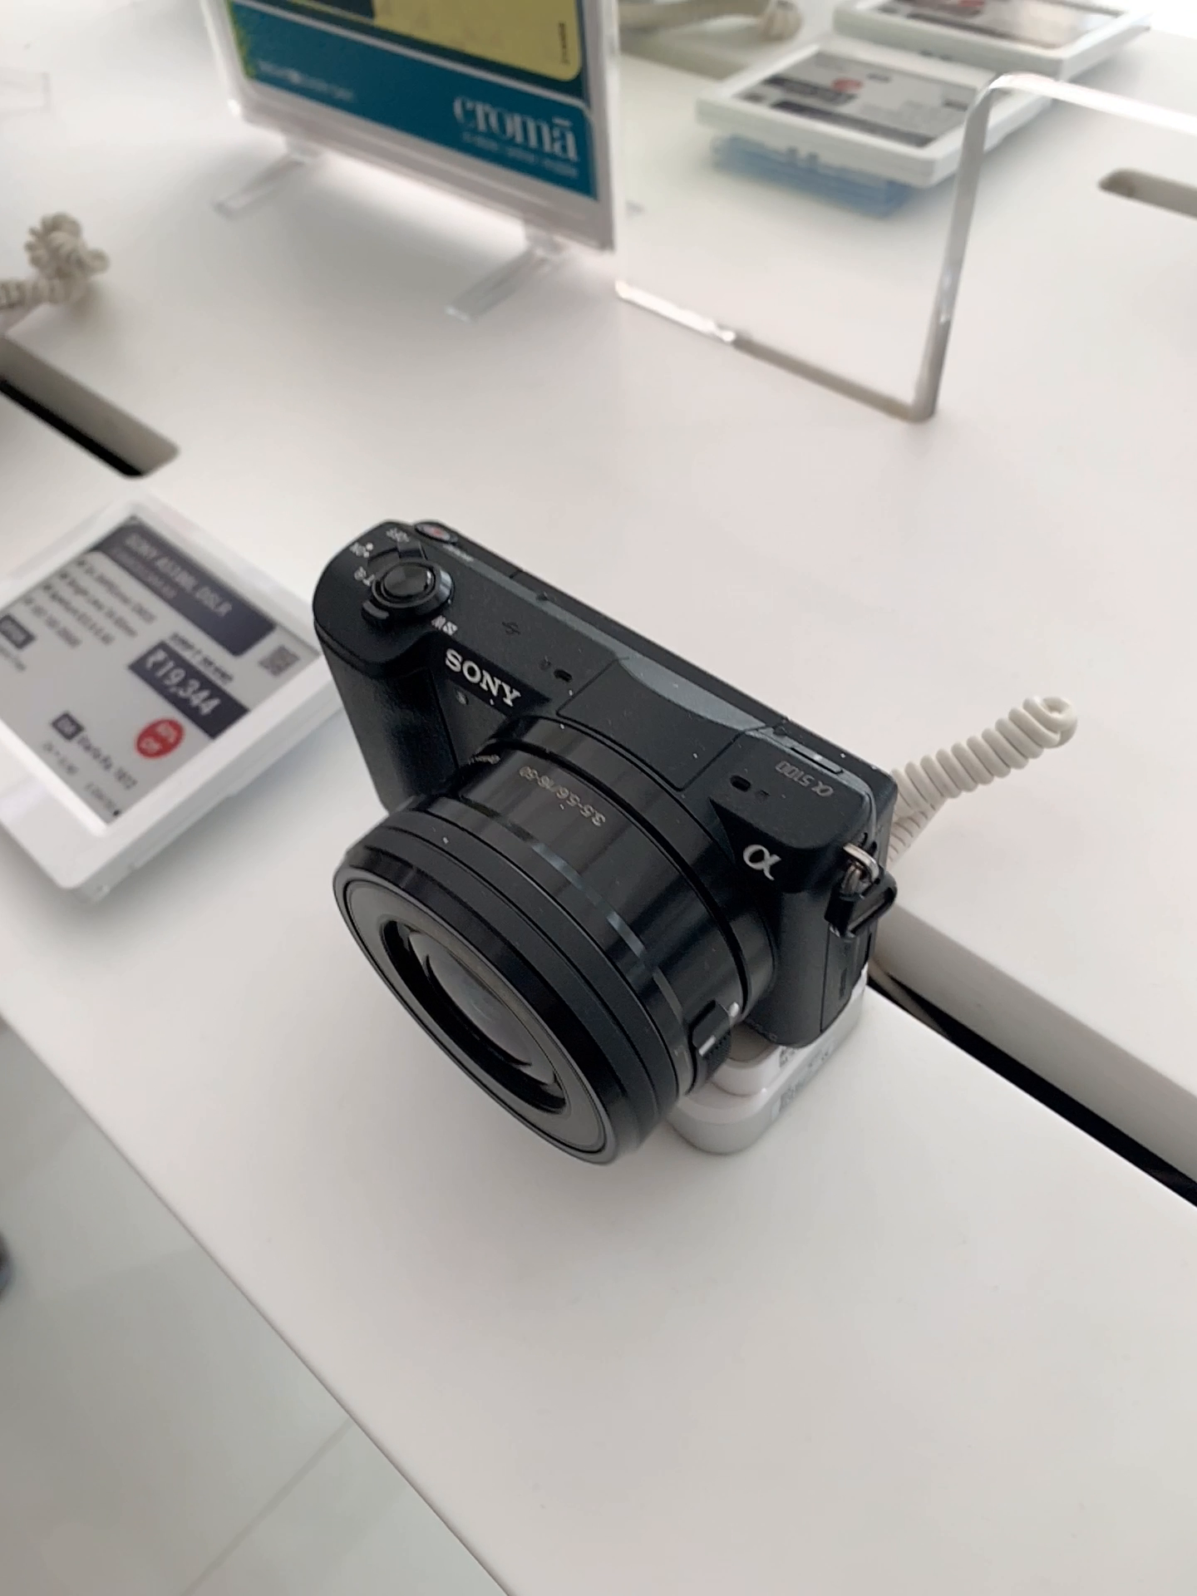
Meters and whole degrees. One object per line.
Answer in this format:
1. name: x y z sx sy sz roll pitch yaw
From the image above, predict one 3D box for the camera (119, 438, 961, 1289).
1. camera: -0.010 0.008 0.208 0.110 0.080 0.060 35 62 28
